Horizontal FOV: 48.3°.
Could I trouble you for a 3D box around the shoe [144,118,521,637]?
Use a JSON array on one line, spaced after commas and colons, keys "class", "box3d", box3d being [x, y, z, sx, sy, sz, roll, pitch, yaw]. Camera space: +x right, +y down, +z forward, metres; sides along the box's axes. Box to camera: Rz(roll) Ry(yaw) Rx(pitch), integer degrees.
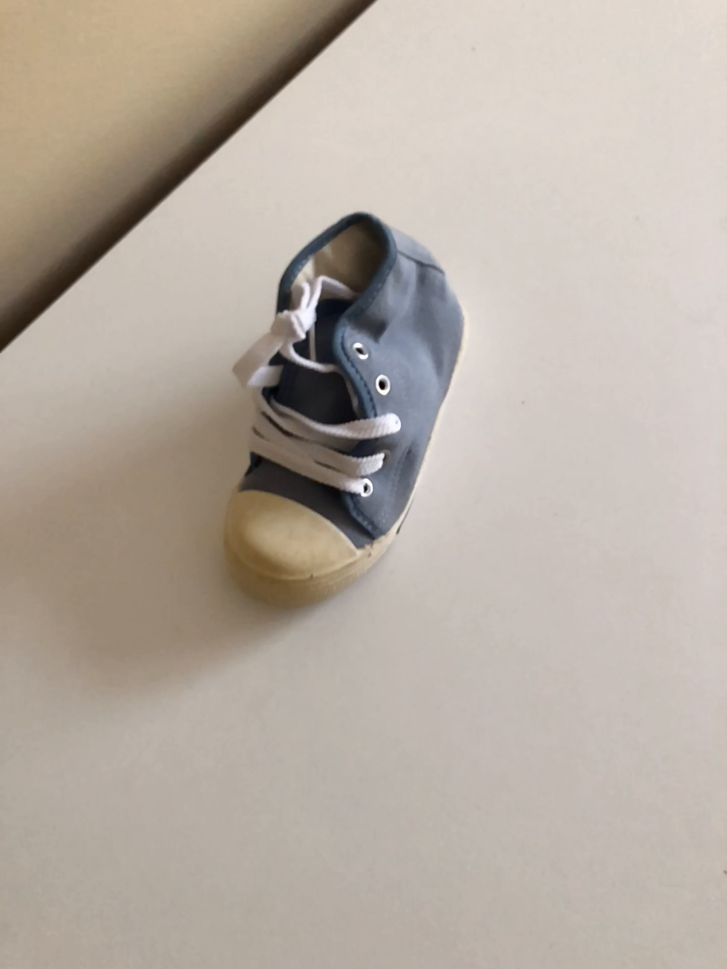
[{"class": "shoe", "box3d": [-0.005, -0.045, 0.360, 0.080, 0.100, 0.191, 19, 70, 9]}]
